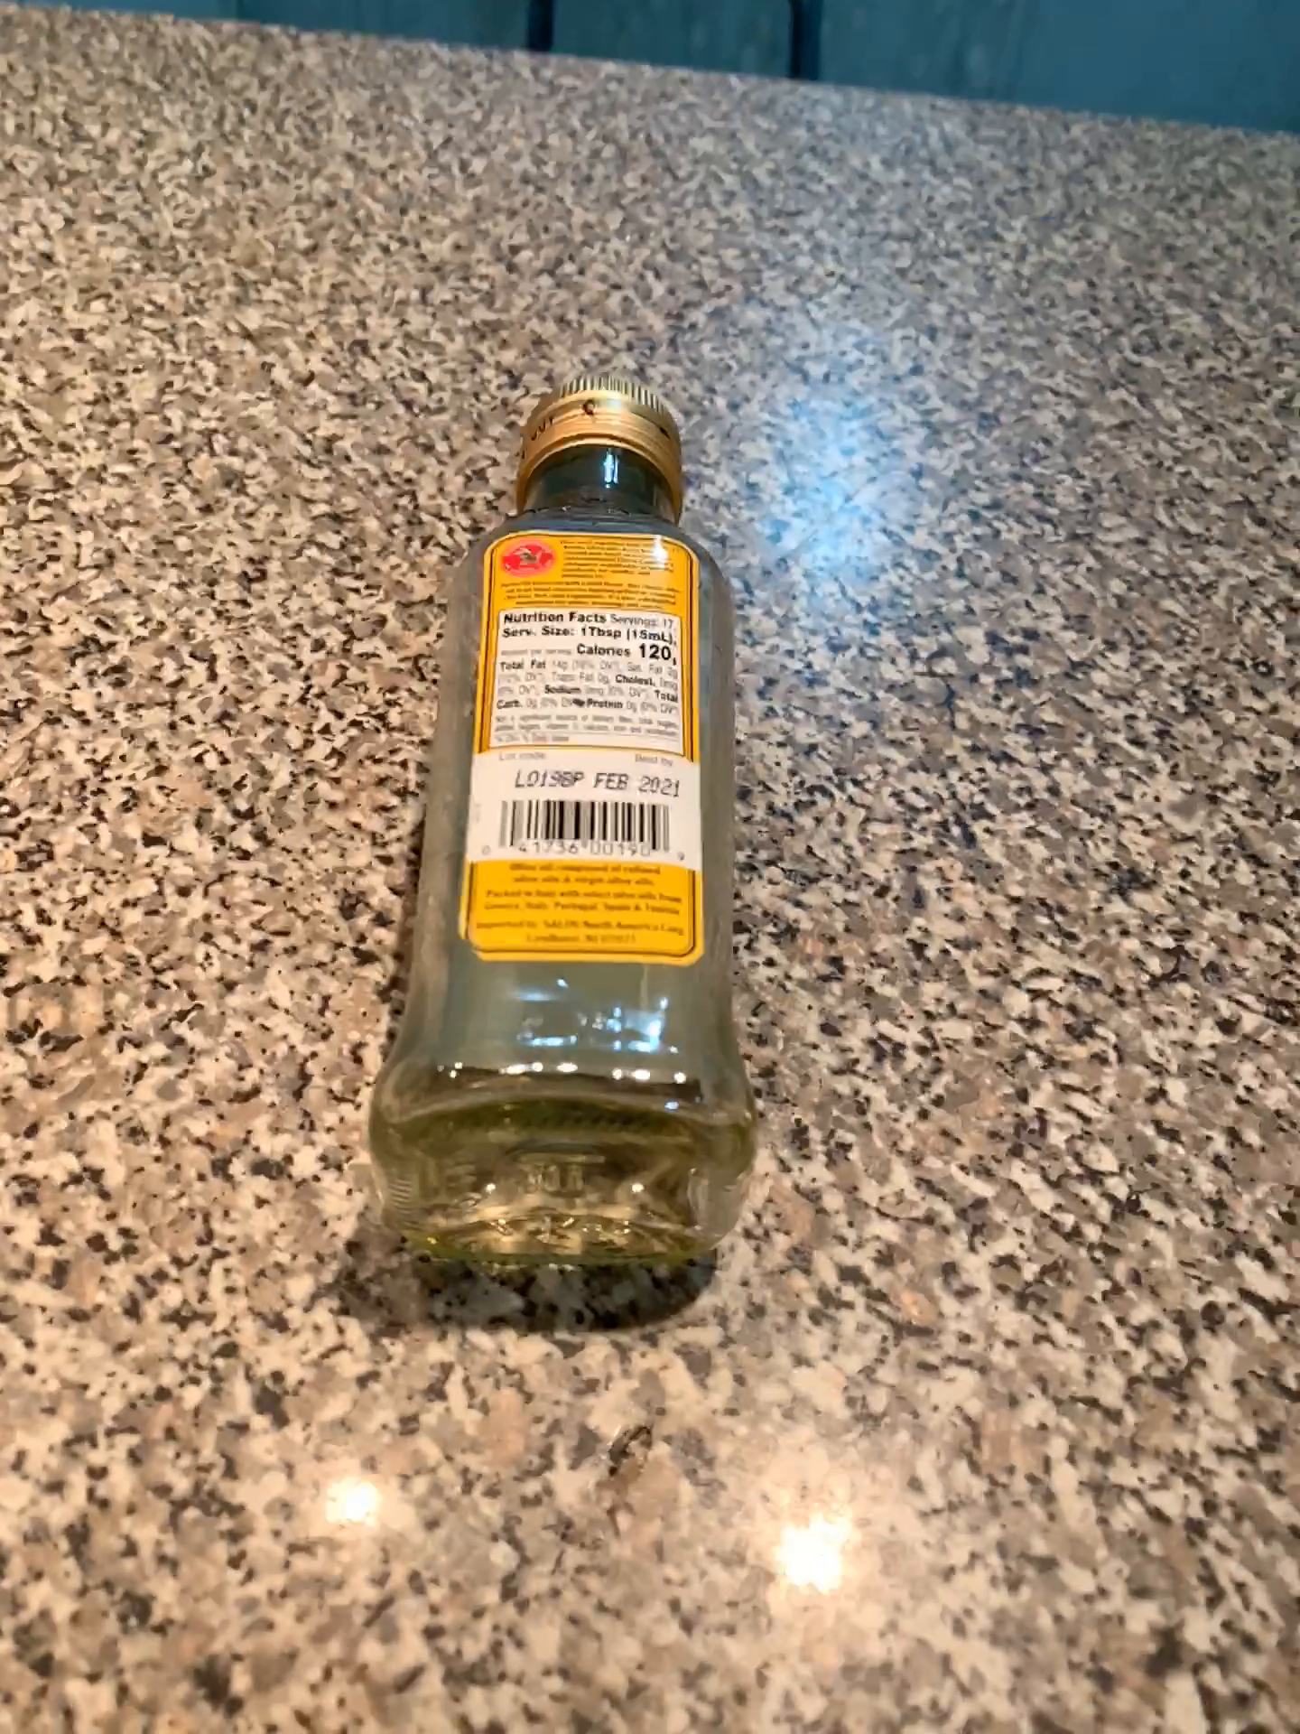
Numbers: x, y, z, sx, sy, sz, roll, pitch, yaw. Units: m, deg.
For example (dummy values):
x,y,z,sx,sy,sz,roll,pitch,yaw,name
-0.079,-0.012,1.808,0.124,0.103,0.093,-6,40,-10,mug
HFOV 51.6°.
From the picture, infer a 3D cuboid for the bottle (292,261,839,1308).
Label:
x,y,z,sx,sy,sz,roll,pitch,yaw,name
-0.011,-0.026,0.227,0.060,0.060,0.181,2,51,-3,bottle
